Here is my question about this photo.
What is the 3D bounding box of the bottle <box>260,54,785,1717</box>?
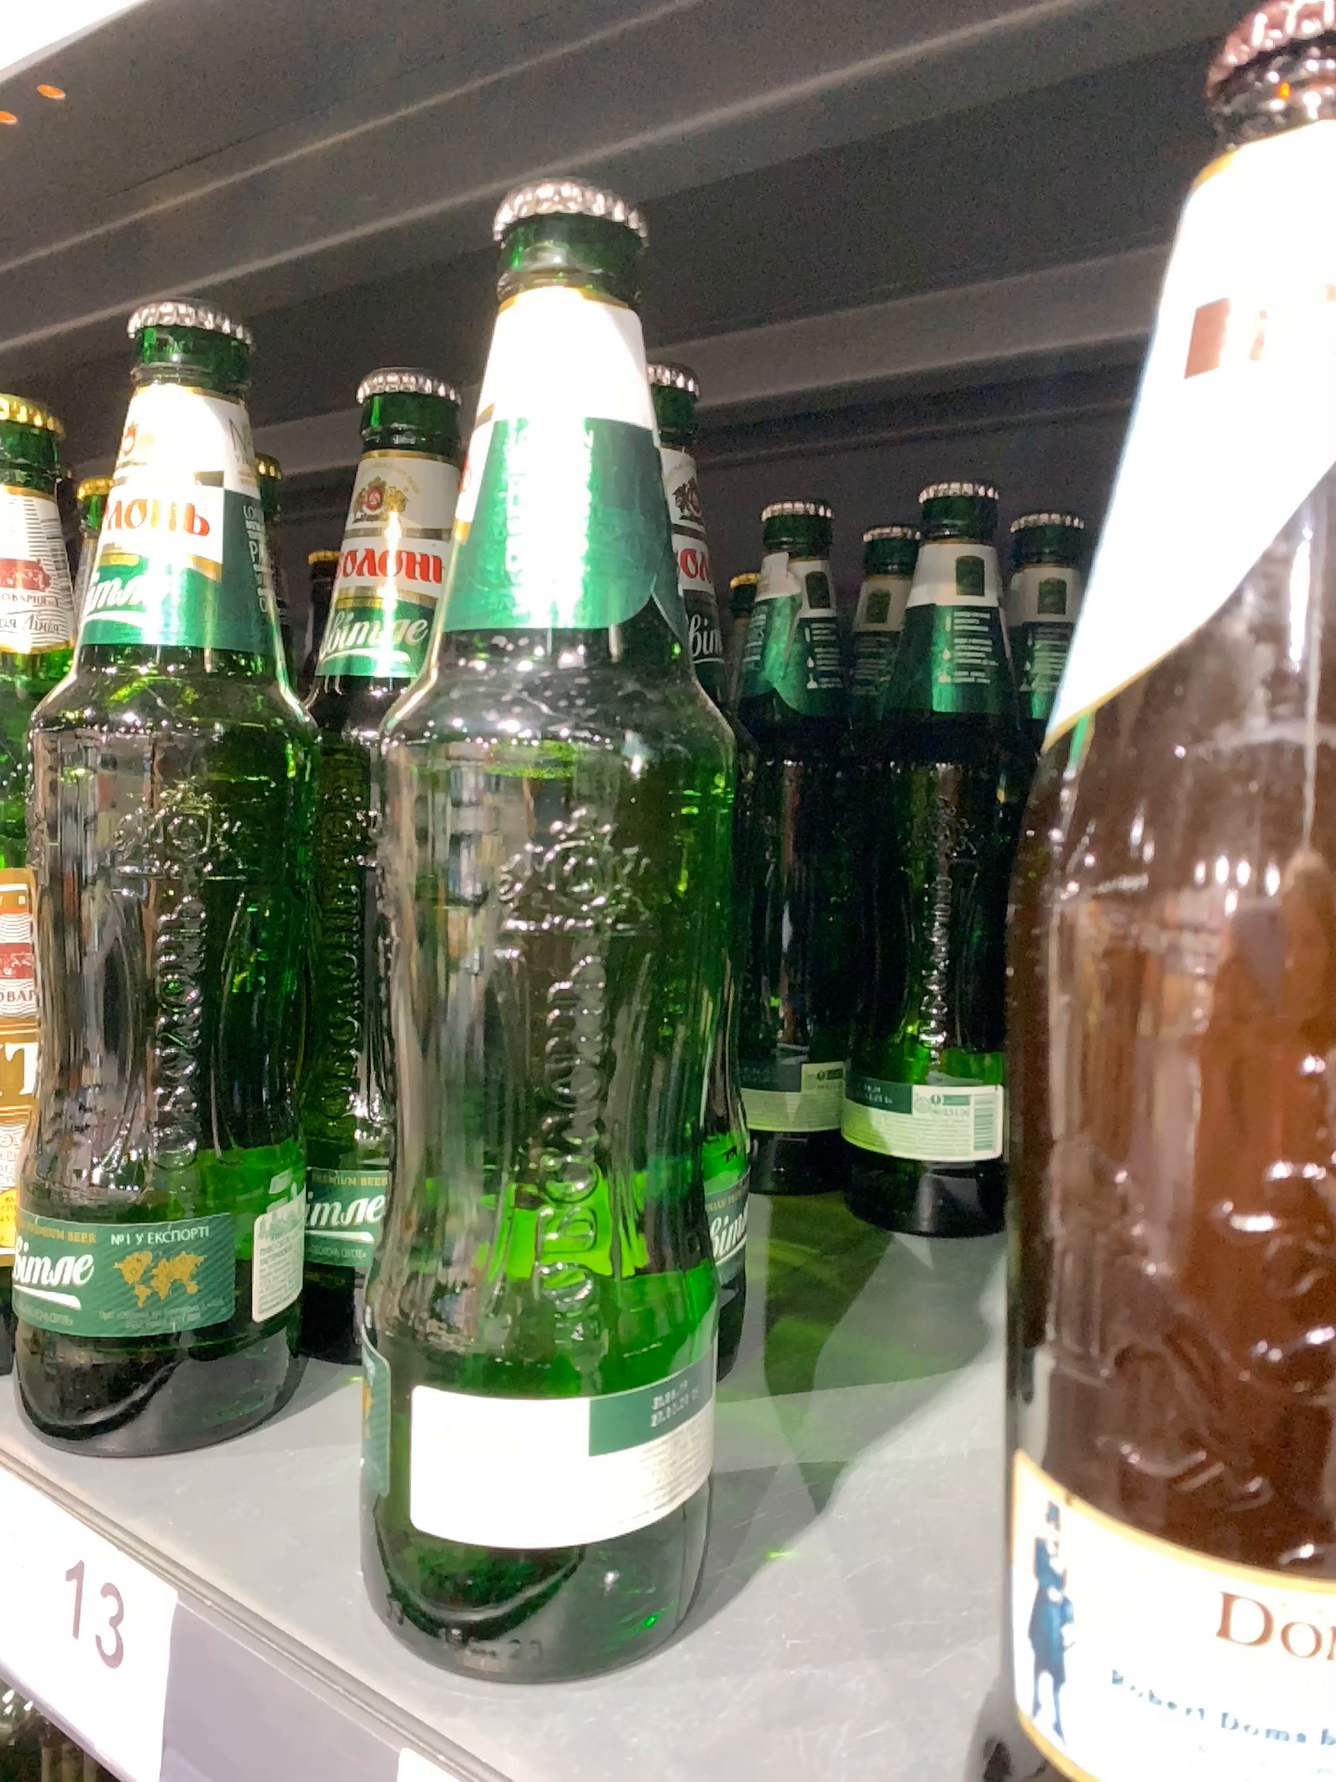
[{"bbox_3d":[-0.025,0.000,0.259,0.070,0.257,0.073,1,4,0],"label":"bottle"}]
